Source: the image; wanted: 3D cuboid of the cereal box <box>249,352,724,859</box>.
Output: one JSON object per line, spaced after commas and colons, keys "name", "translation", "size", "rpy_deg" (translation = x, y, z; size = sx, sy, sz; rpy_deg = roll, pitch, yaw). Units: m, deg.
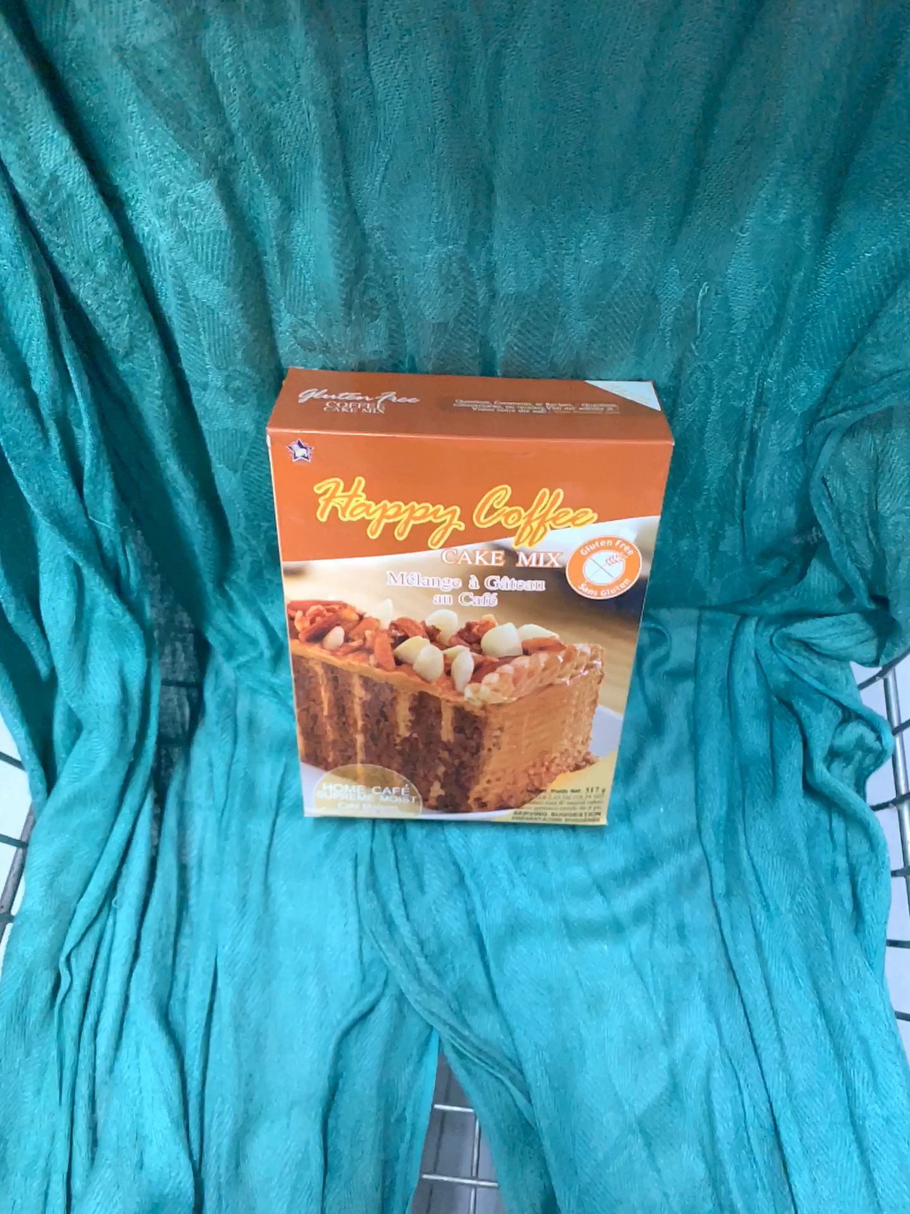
{"name": "cereal box", "translation": [0.007, 0.011, 0.378], "size": [0.150, 0.210, 0.050], "rpy_deg": [2, 36, -1]}
